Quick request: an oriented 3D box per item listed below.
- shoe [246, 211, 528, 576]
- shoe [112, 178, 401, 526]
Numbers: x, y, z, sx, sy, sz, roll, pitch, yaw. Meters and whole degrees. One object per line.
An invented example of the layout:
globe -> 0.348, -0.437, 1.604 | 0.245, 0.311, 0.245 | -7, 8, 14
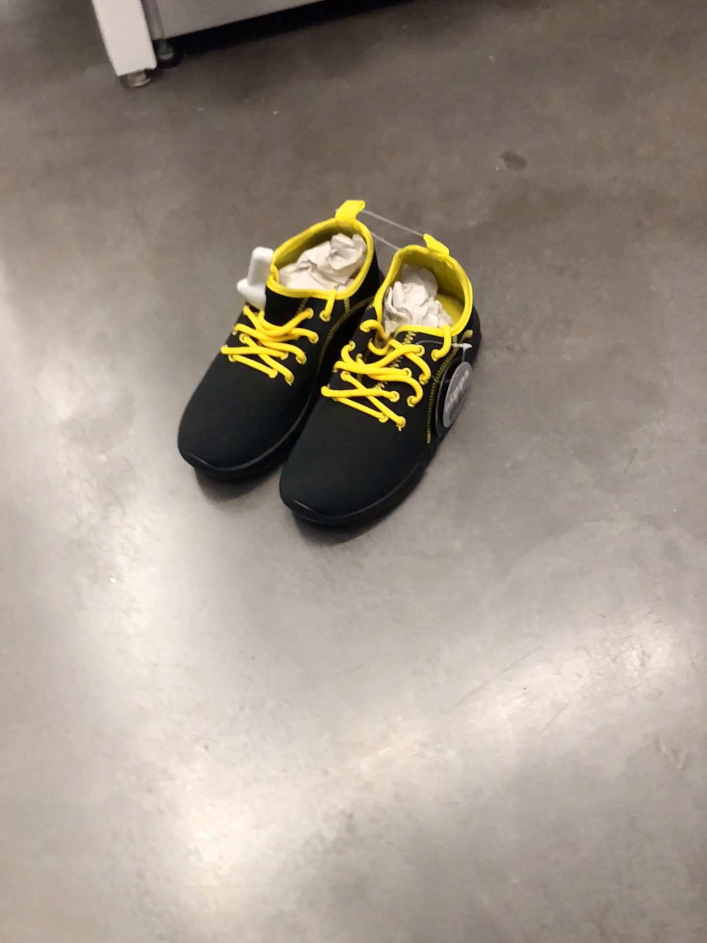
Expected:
shoe -> 0.030, -0.060, 0.552 | 0.090, 0.100, 0.231 | 24, 63, 14
shoe -> -0.058, -0.092, 0.575 | 0.090, 0.100, 0.231 | 24, 63, 14
